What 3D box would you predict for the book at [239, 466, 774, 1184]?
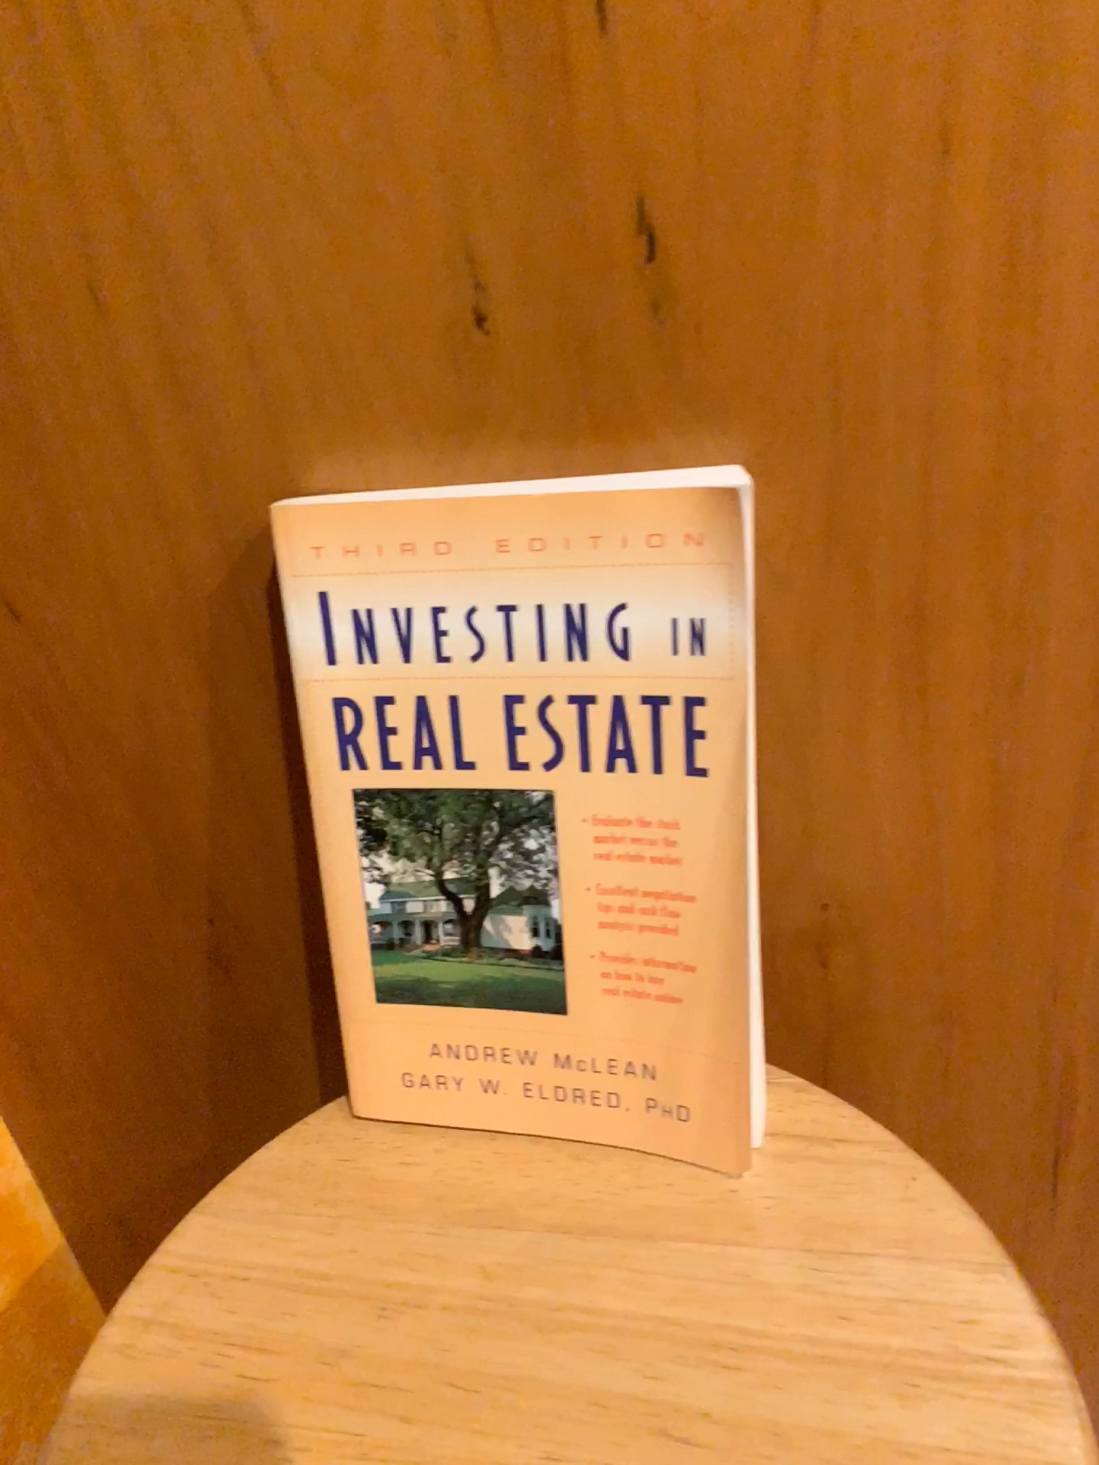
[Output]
[{"bbox_3d":[-0.007,0.031,0.388,0.160,0.229,0.050,0,15,15],"label":"book"}]
